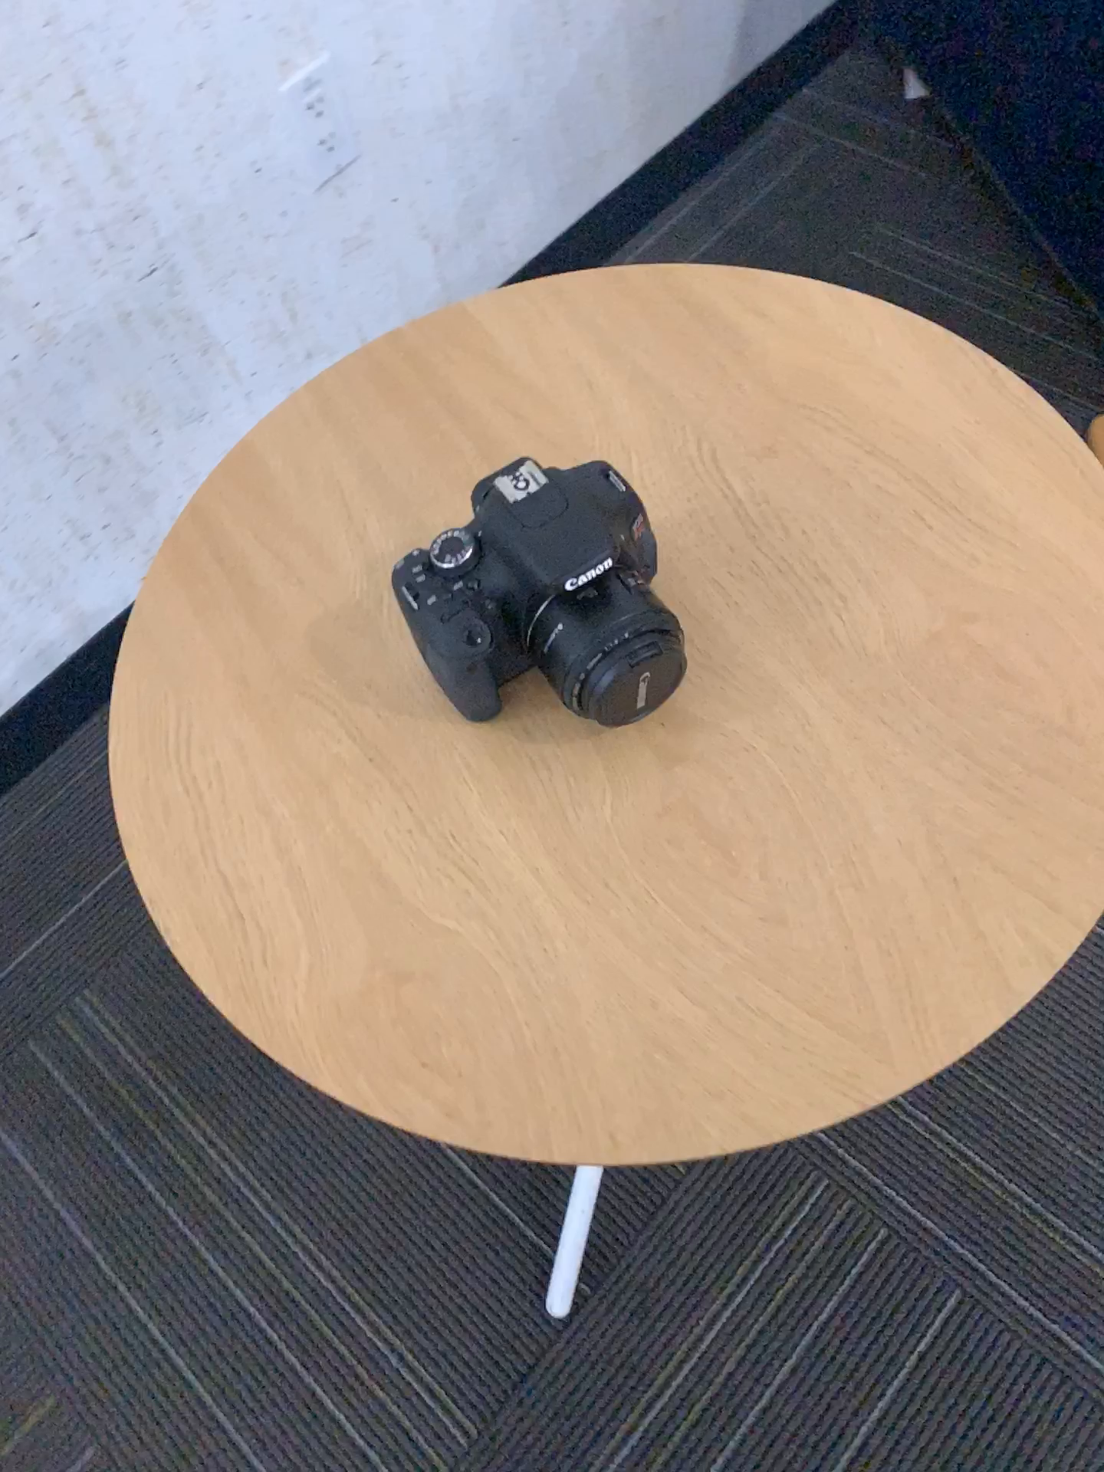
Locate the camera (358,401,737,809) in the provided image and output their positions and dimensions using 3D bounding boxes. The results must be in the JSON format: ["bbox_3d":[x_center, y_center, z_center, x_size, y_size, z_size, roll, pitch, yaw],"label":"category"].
[{"bbox_3d":[0.002,-0.063,0.549,0.130,0.100,0.117,-31,61,-9],"label":"camera"}]
